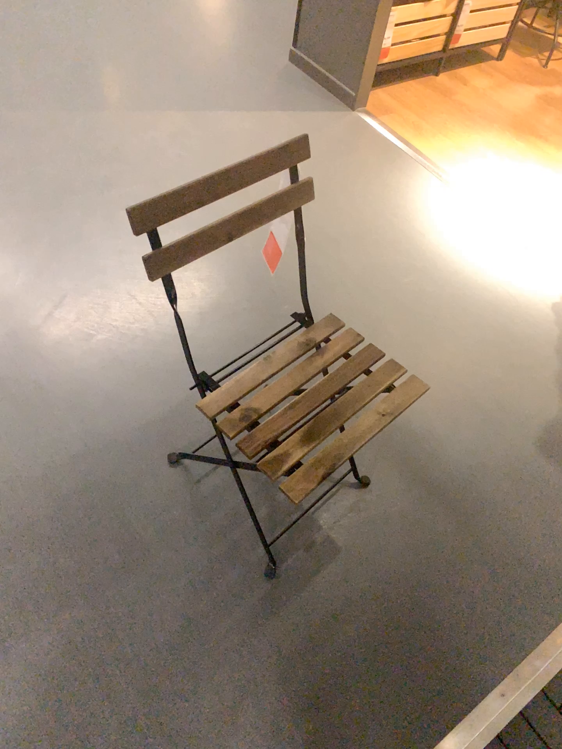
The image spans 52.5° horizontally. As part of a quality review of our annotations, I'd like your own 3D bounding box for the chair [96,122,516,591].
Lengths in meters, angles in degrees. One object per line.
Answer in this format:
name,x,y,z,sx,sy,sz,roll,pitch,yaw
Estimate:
chair,0.001,-0.004,1.157,0.431,0.698,0.500,-36,65,-30
